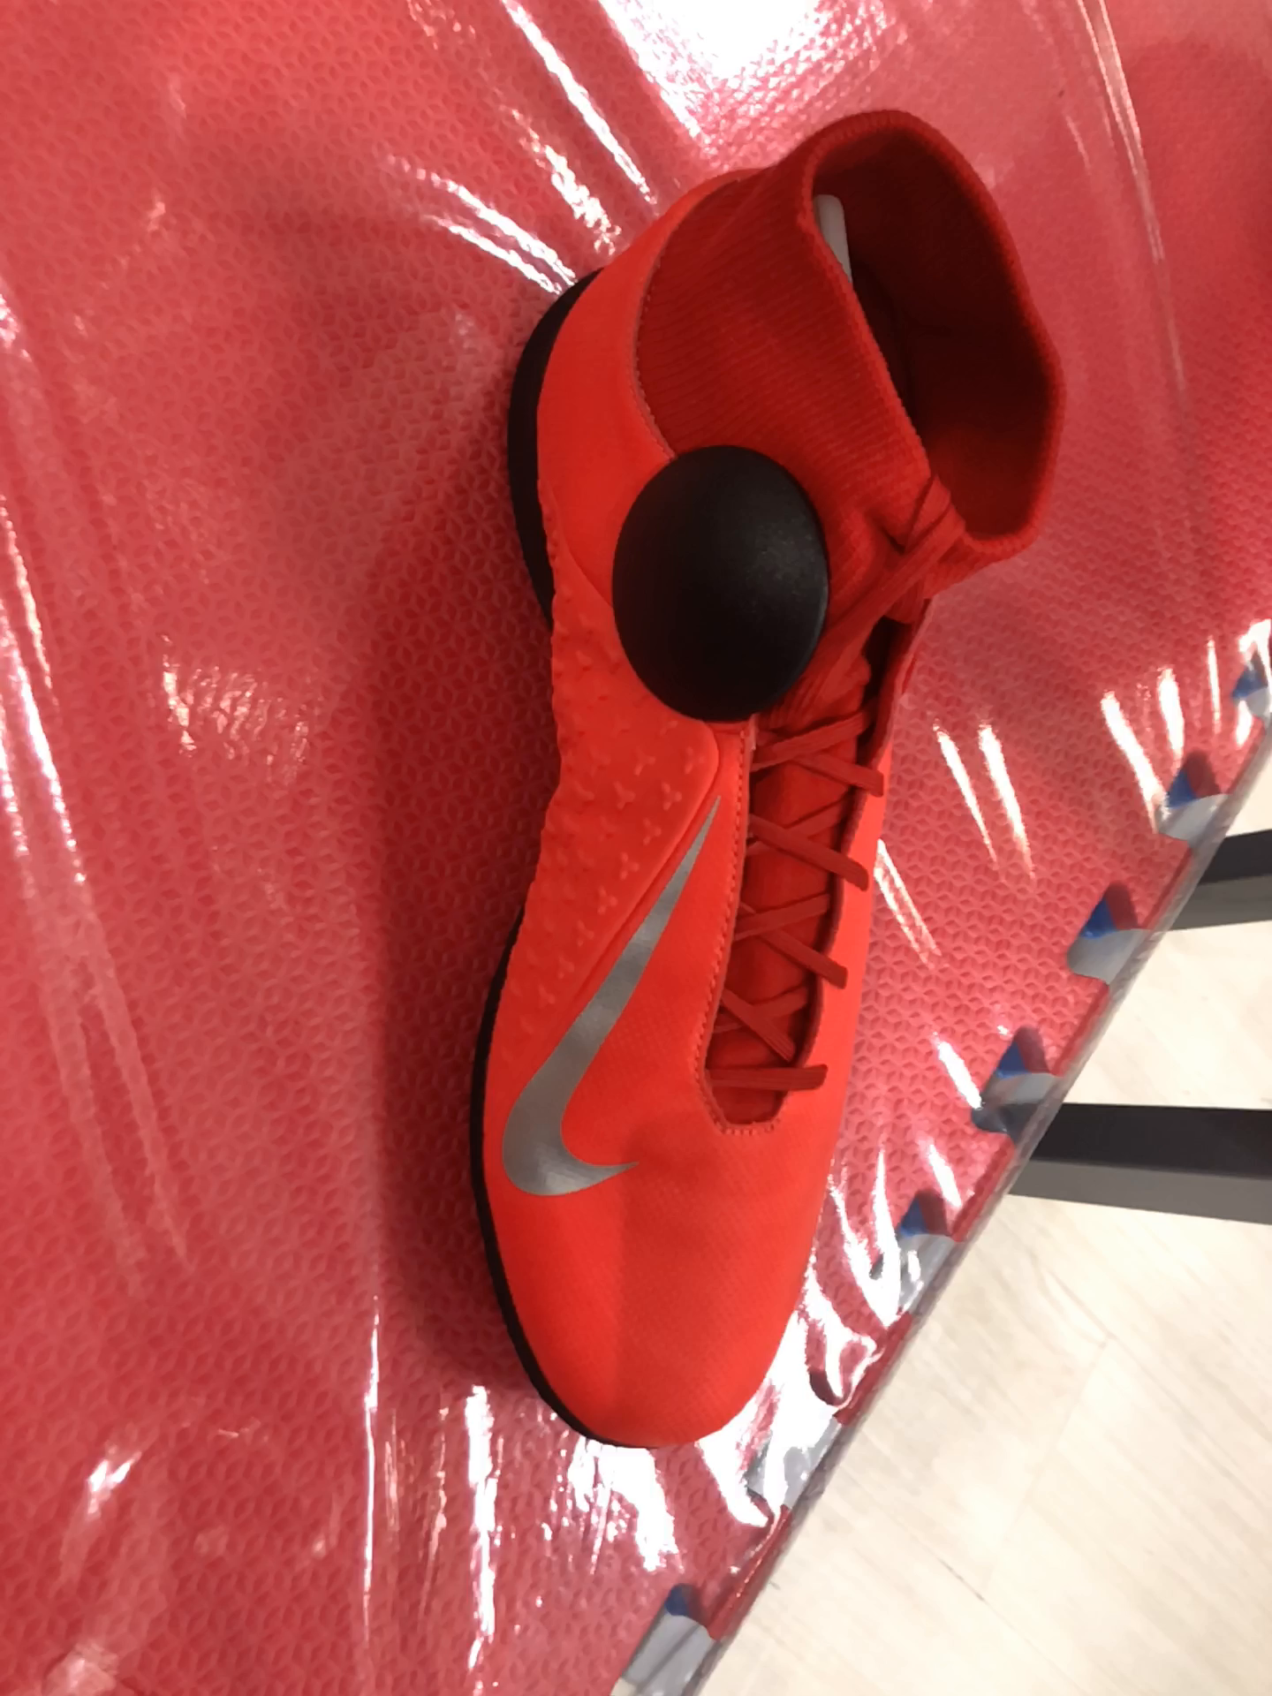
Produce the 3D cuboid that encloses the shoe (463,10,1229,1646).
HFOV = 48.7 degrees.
[{"bbox_3d":[0.029,-0.003,0.285,0.090,0.119,0.250,3,80,-27],"label":"shoe"}]
